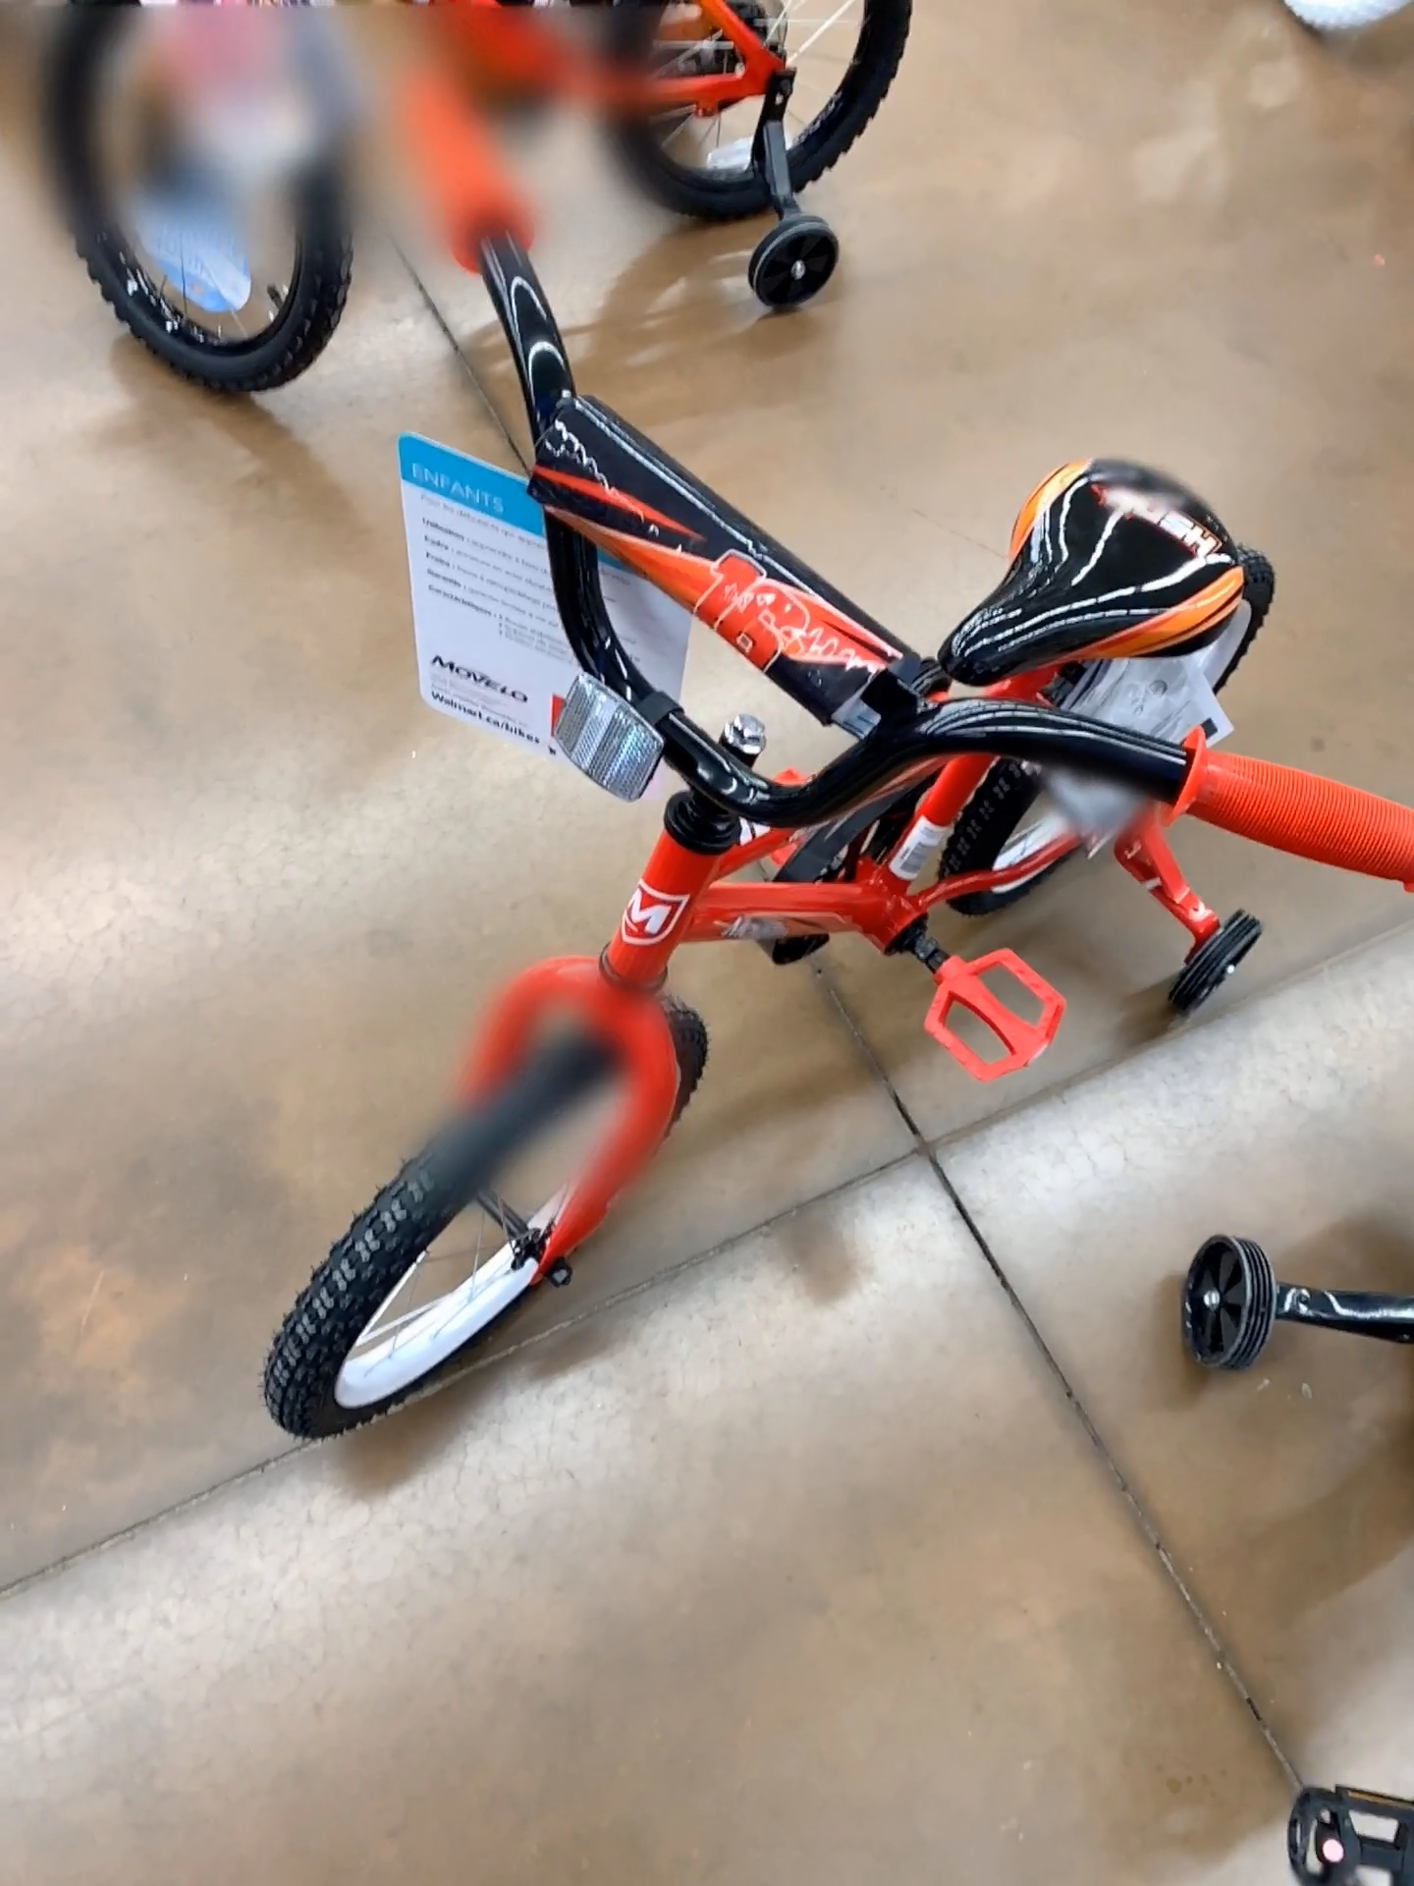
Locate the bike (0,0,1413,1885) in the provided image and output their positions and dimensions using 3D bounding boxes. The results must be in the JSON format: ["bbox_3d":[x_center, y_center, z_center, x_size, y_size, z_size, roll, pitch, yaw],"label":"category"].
[{"bbox_3d":[0.148,-0.077,0.979,1.071,0.850,0.585,-37,71,-25],"label":"bike"}]
